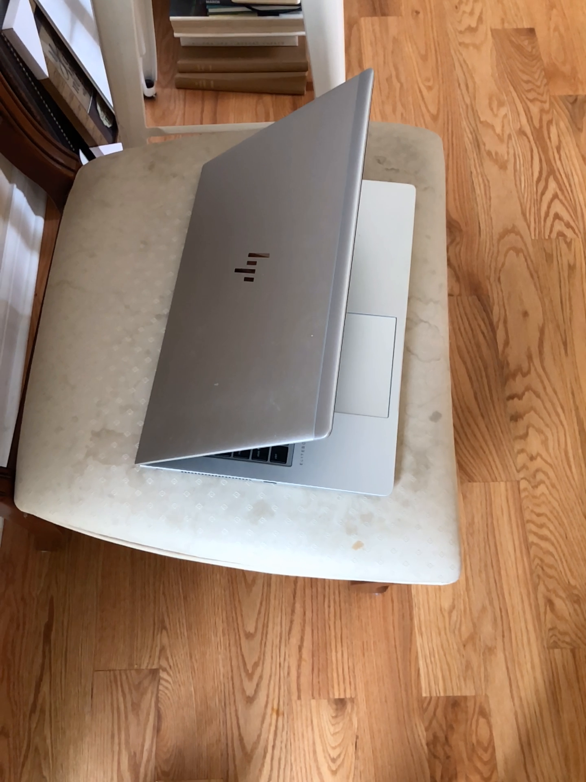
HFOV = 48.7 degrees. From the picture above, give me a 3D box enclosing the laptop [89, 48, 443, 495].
[{"bbox_3d":[-0.005,-0.113,0.616,0.244,0.159,0.366,7,69,3],"label":"laptop"}]
